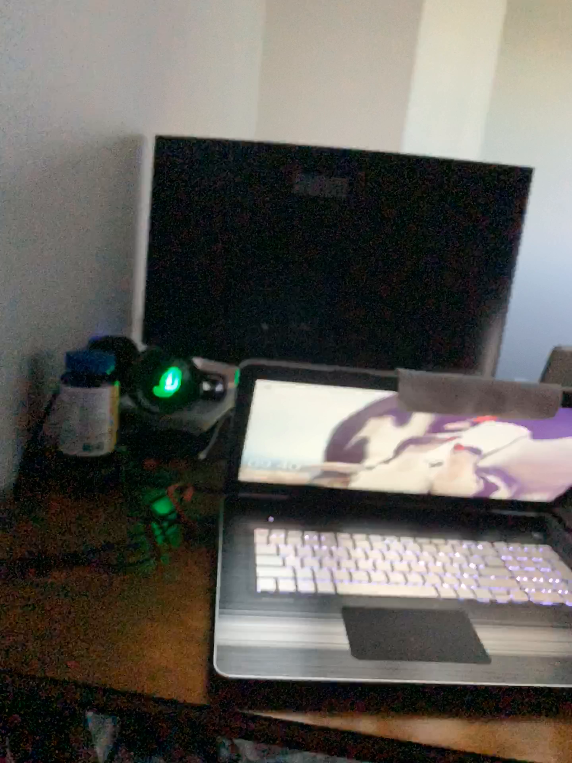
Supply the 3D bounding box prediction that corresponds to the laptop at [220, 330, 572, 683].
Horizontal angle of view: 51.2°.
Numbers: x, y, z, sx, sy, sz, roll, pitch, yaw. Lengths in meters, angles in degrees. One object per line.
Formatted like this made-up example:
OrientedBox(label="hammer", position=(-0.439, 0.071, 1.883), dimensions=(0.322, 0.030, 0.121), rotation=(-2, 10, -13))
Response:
OrientedBox(label="laptop", position=(0.145, 0.096, 0.558), dimensions=(0.393, 0.187, 0.258), rotation=(5, 17, -8))
